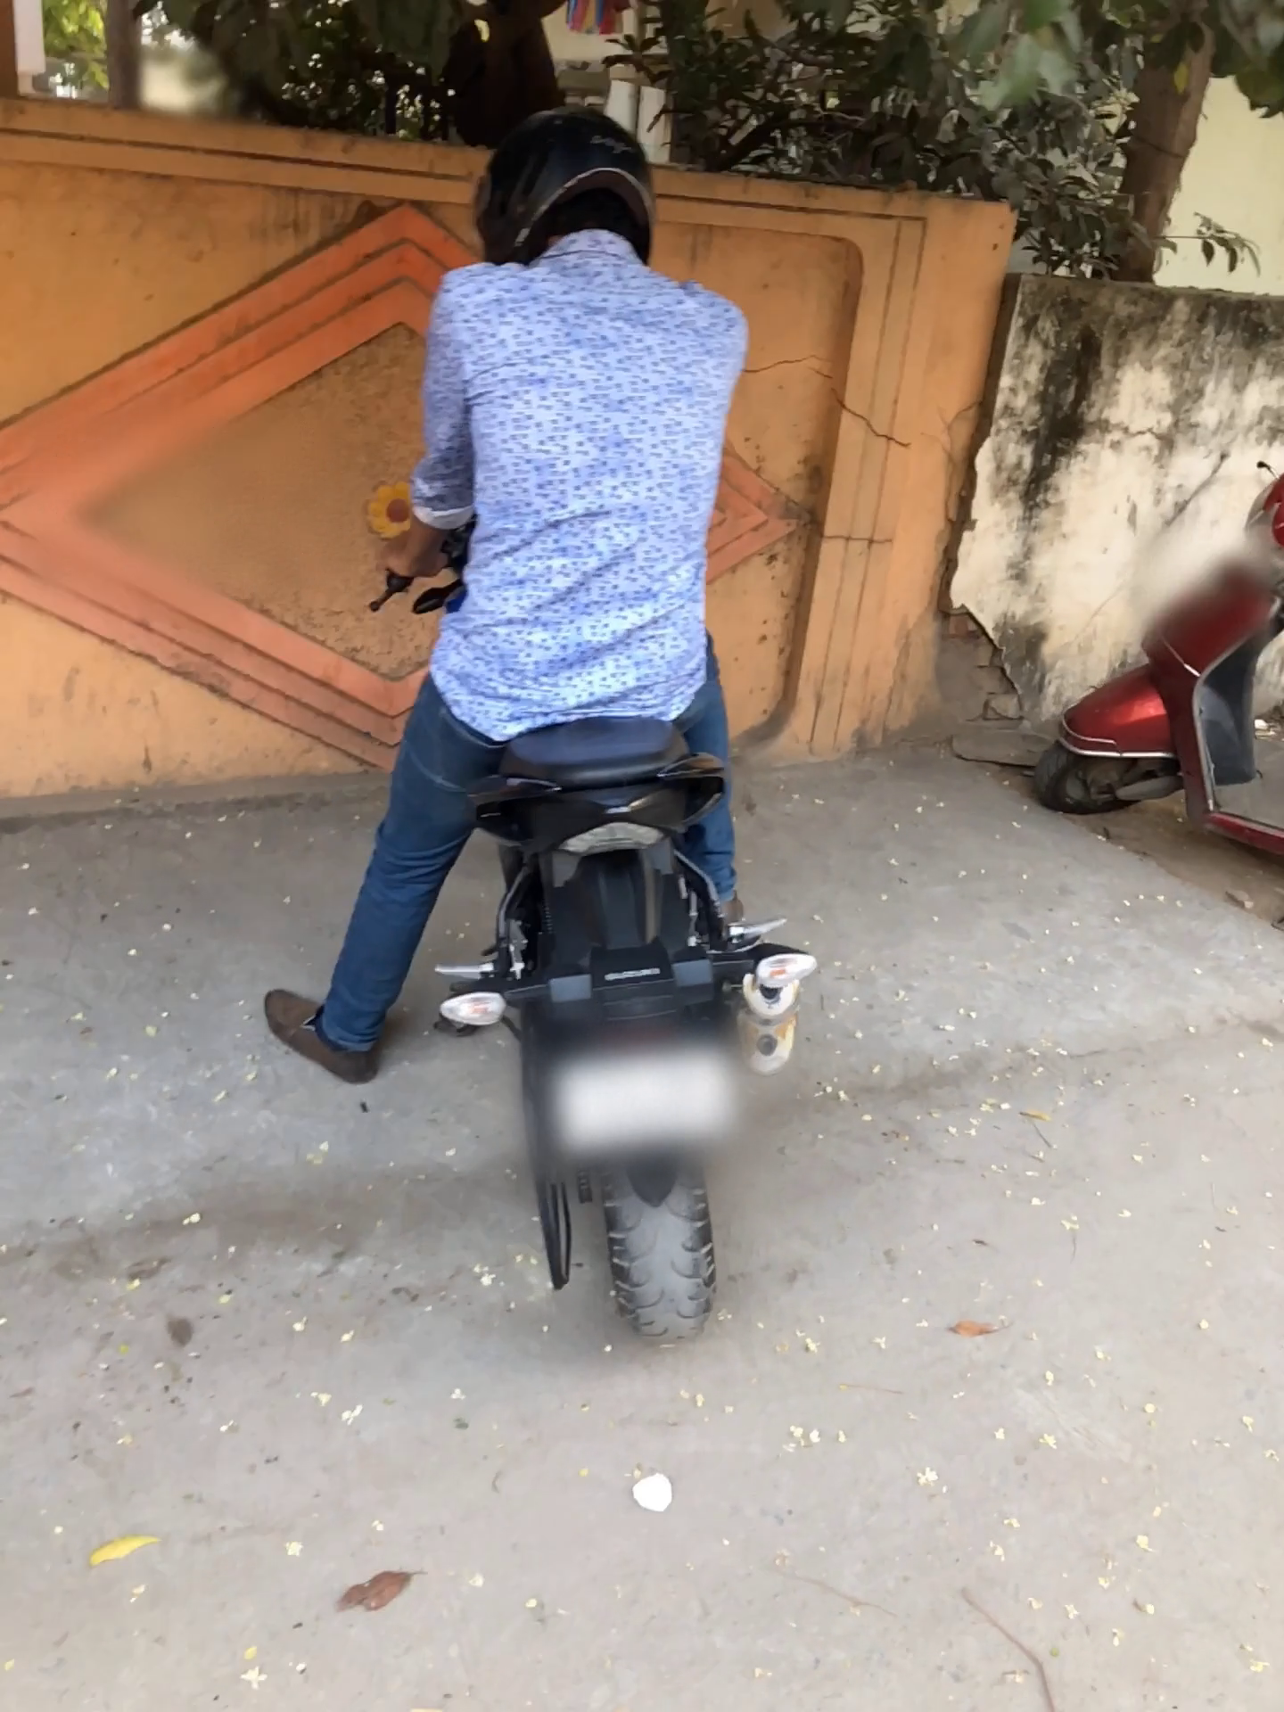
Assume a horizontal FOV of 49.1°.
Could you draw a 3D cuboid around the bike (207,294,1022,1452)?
[{"bbox_3d":[-0.304,-0.189,2.424,0.793,1.188,1.899,-1,27,-15],"label":"bike"}]
